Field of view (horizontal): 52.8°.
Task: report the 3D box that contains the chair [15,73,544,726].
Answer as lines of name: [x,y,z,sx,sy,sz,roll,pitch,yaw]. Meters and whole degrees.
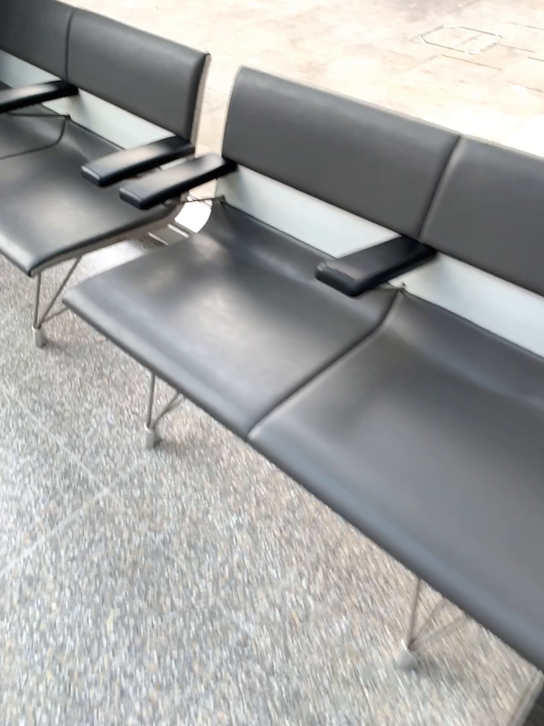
chair: [0.200,-0.047,1.291,1.206,0.713,0.824,34,55,28]
